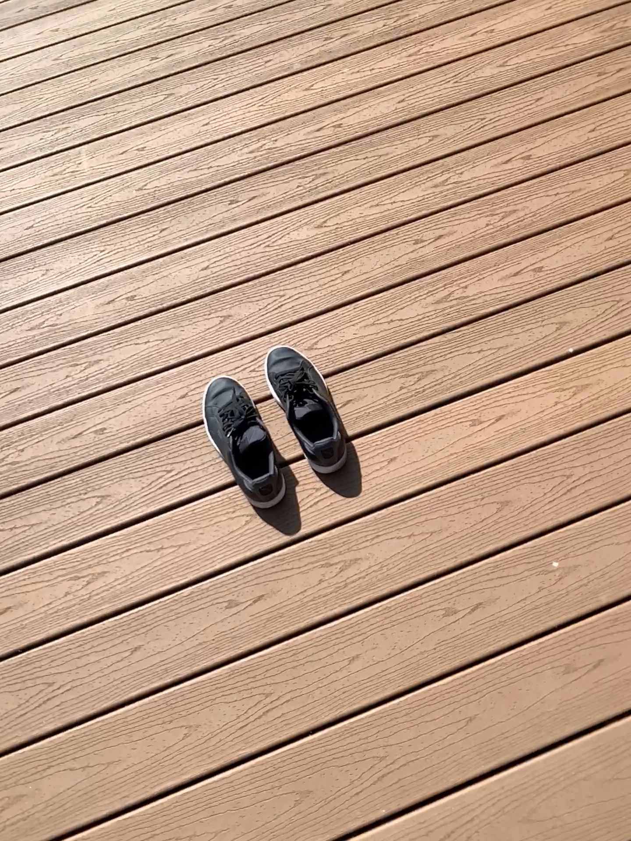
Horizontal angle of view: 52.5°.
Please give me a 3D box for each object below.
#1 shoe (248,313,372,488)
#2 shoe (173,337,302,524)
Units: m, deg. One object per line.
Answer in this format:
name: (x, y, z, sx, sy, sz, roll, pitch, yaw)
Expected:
shoe: (-0.011, -0.038, 1.150, 0.110, 0.104, 0.281, -24, 64, -6)
shoe: (-0.141, 0.015, 1.145, 0.112, 0.107, 0.301, -24, 64, -6)
